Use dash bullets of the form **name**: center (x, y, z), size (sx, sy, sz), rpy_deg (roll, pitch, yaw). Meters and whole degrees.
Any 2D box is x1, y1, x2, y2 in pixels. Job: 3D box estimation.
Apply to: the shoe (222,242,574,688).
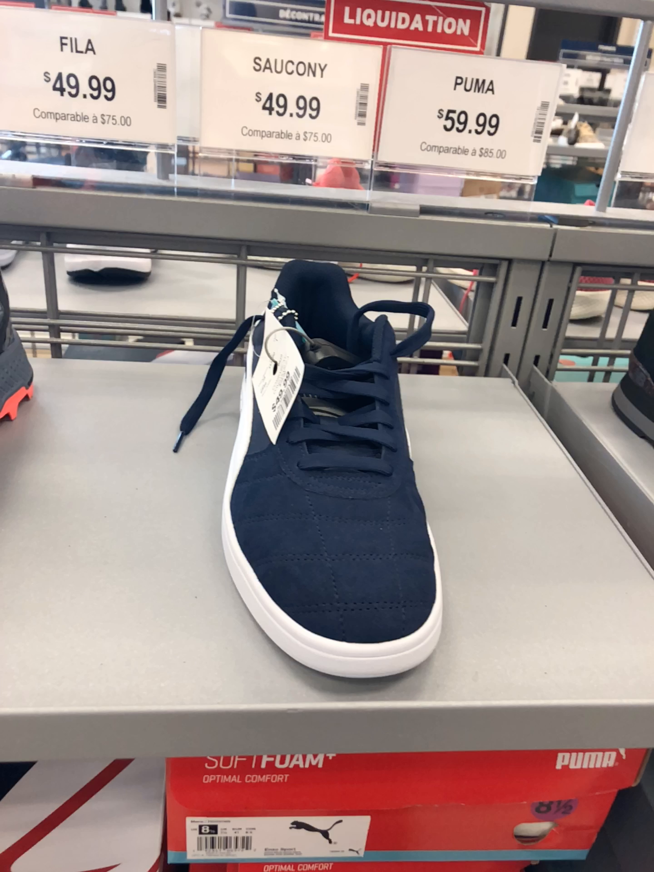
- **shoe**: center (0.008, -0.008, 0.375), size (0.119, 0.119, 0.242), rpy_deg (1, 28, -8)
